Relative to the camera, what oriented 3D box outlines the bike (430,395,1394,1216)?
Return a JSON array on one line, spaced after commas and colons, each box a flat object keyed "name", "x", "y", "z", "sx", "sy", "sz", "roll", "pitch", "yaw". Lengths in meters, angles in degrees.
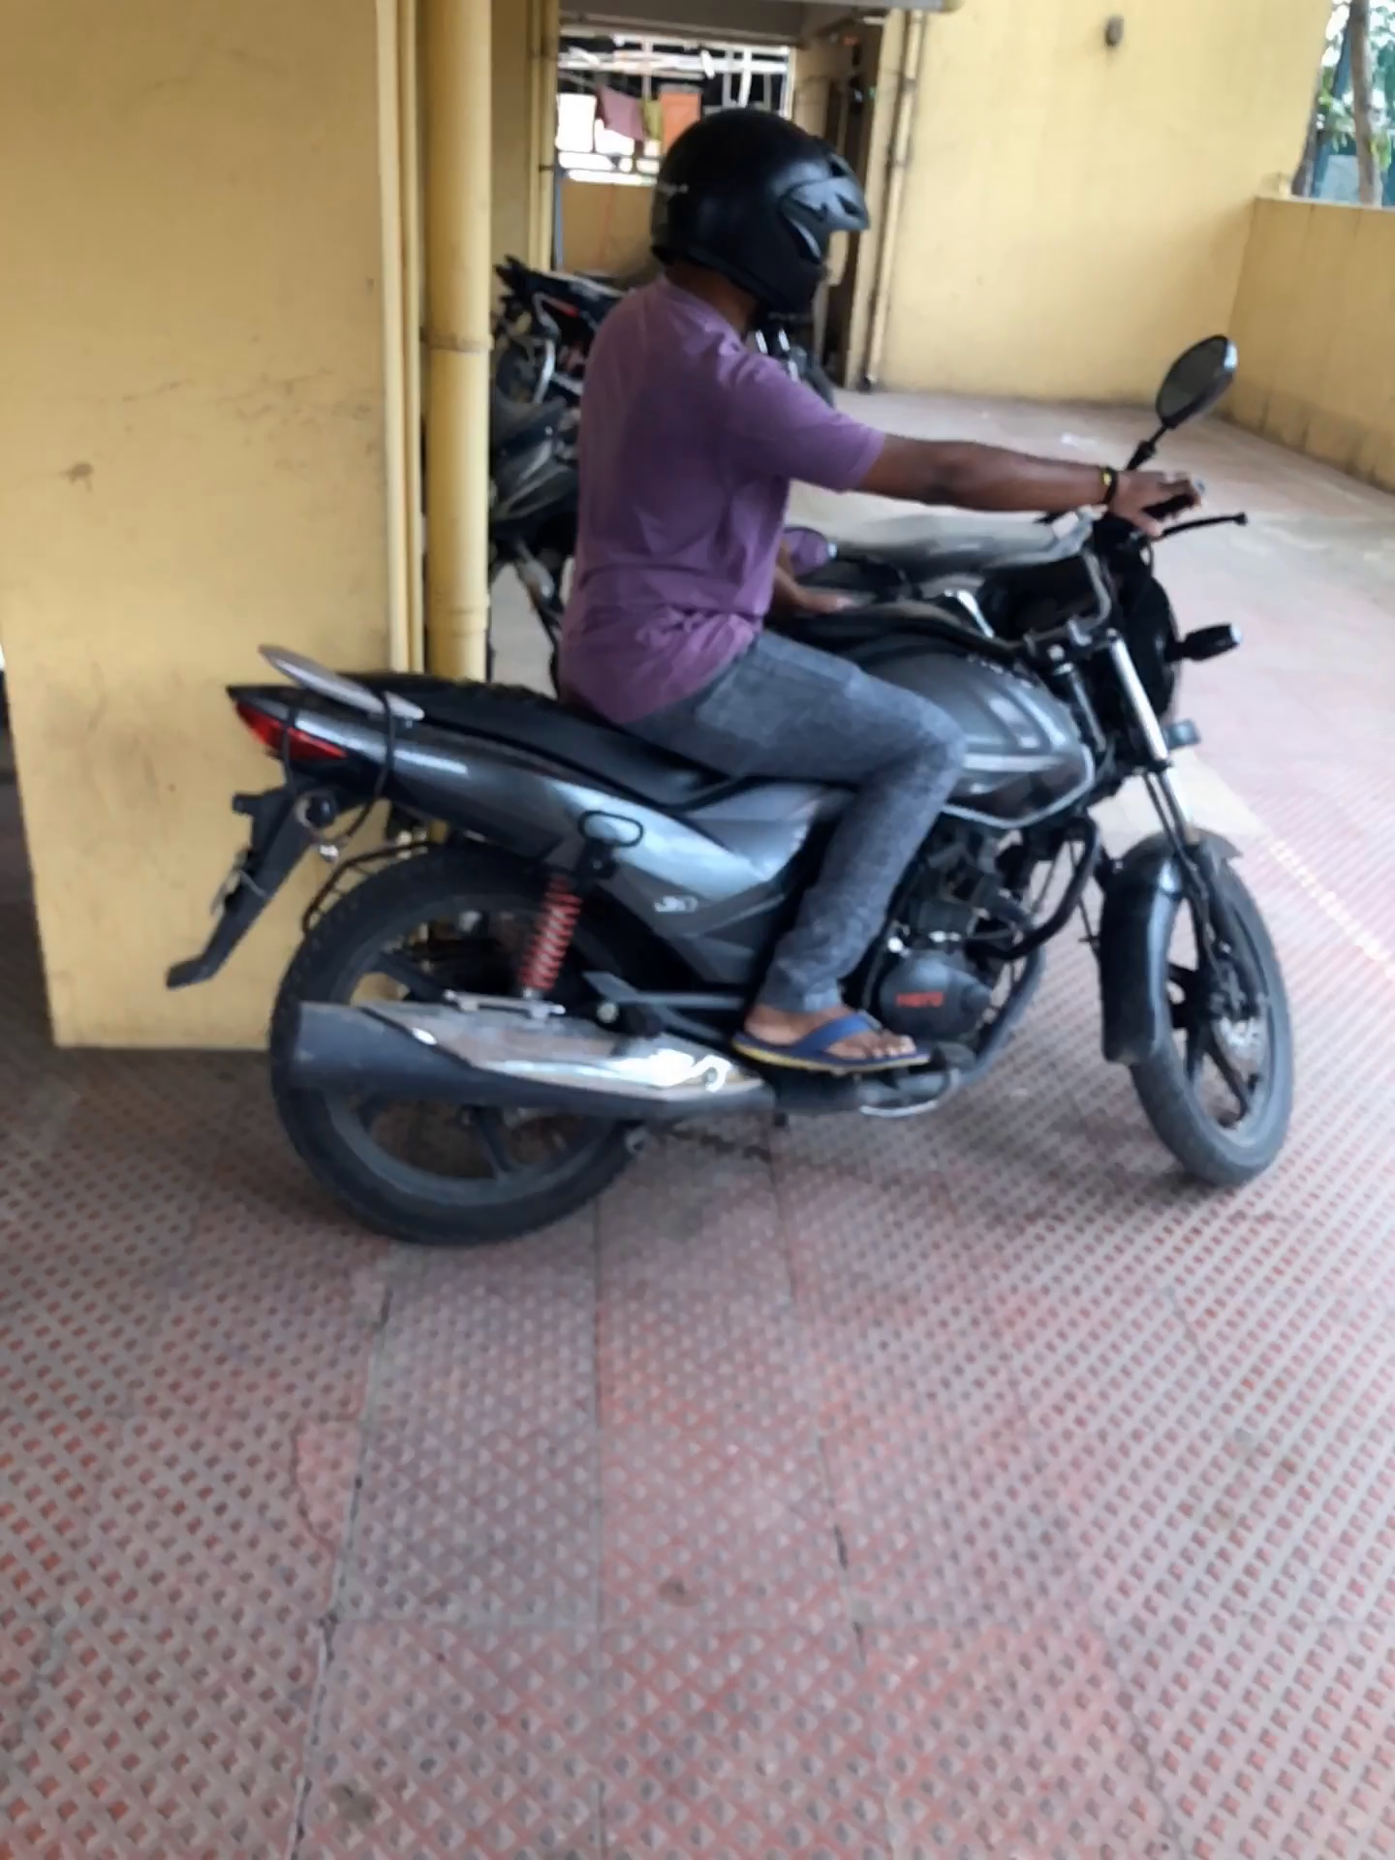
[{"name": "bike", "x": 0.255, "y": -0.208, "z": 2.436, "sx": 1.237, "sy": 0.999, "sz": 0.703, "roll": -2, "pitch": 27, "yaw": -17}]
